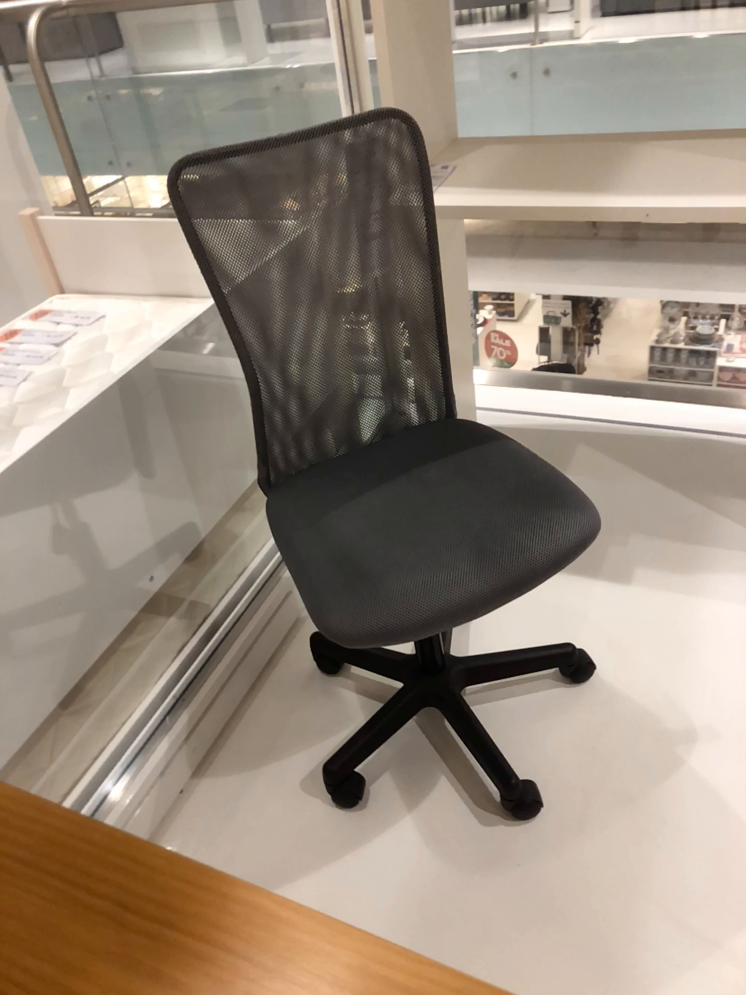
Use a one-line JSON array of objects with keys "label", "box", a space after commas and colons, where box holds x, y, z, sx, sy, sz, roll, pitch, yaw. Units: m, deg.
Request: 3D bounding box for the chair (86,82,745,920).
[{"label": "chair", "box": [0.069, -0.015, 1.221, 0.581, 0.932, 0.604, -22, 38, -17]}]
